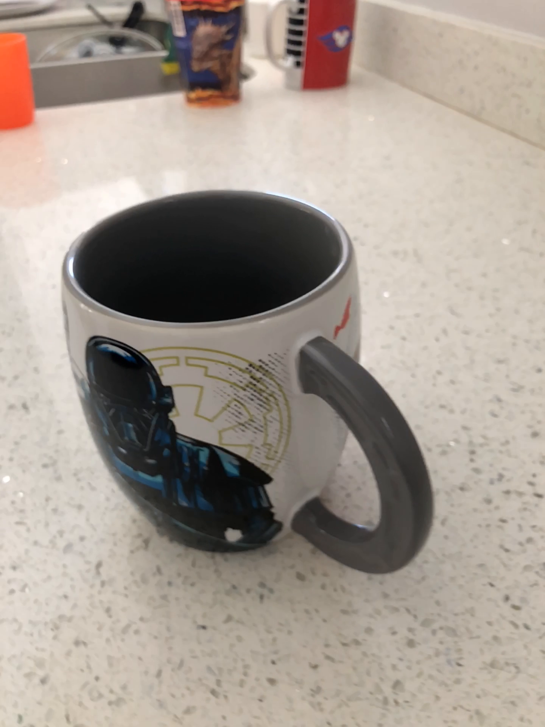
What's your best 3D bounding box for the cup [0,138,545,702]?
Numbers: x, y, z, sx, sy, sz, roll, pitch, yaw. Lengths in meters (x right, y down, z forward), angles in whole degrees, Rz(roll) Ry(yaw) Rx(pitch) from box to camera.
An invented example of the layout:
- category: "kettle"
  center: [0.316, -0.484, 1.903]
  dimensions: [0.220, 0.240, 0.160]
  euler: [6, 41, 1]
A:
- category: "cup"
  center: [-0.010, 0.001, 0.206]
  dimensions: [0.100, 0.100, 0.141]
  euler: [-29, 44, -31]
